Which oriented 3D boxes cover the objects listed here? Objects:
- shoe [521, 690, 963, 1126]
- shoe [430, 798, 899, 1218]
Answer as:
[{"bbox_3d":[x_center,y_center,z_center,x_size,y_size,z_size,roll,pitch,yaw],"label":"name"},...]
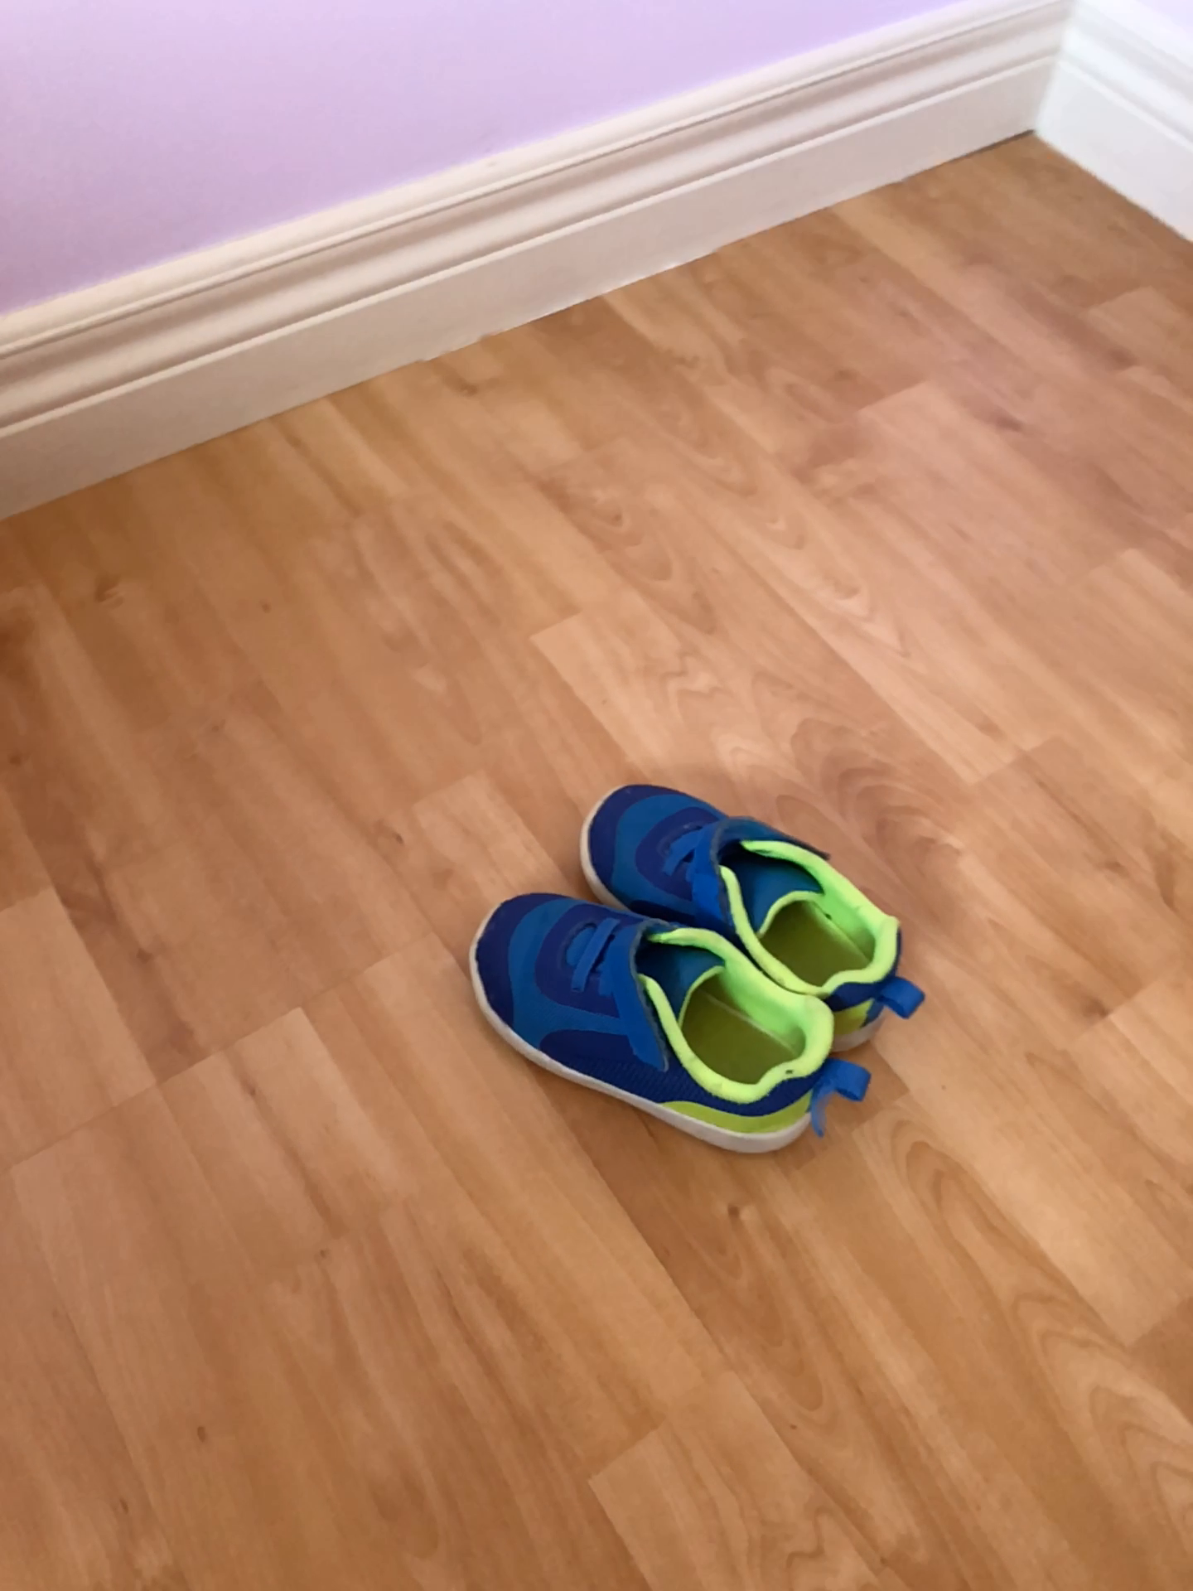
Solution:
[{"bbox_3d":[0.054,0.044,0.550,0.160,0.070,0.080,37,61,21],"label":"shoe"},{"bbox_3d":[0.024,0.083,0.531,0.160,0.070,0.080,26,58,15],"label":"shoe"}]
